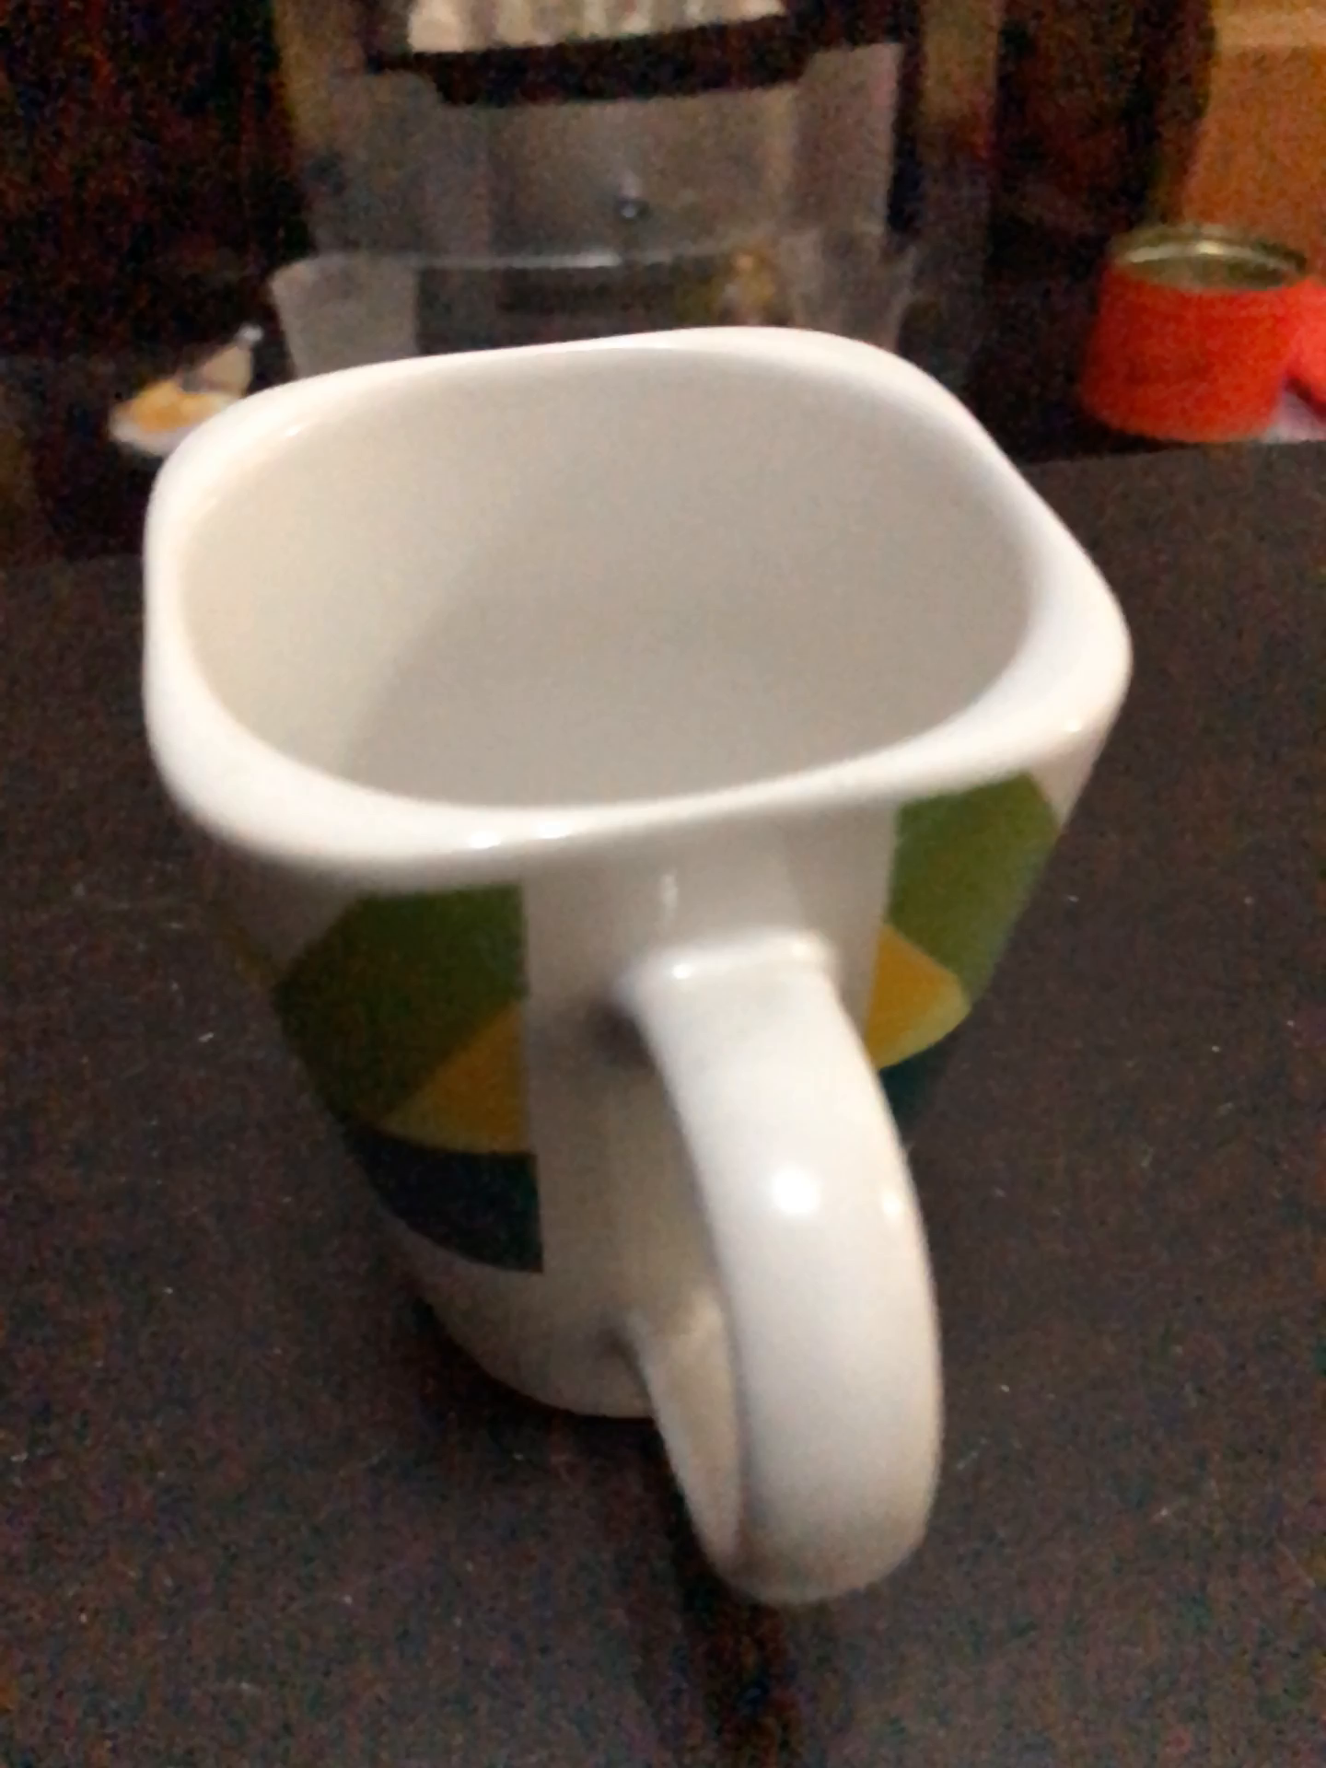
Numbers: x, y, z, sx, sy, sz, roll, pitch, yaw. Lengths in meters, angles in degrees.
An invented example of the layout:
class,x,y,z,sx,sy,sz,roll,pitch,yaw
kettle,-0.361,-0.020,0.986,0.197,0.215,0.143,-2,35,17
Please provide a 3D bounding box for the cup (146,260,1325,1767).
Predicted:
class,x,y,z,sx,sy,sz,roll,pitch,yaw
cup,0.003,0.009,0.143,0.080,0.089,0.111,-11,44,-11
